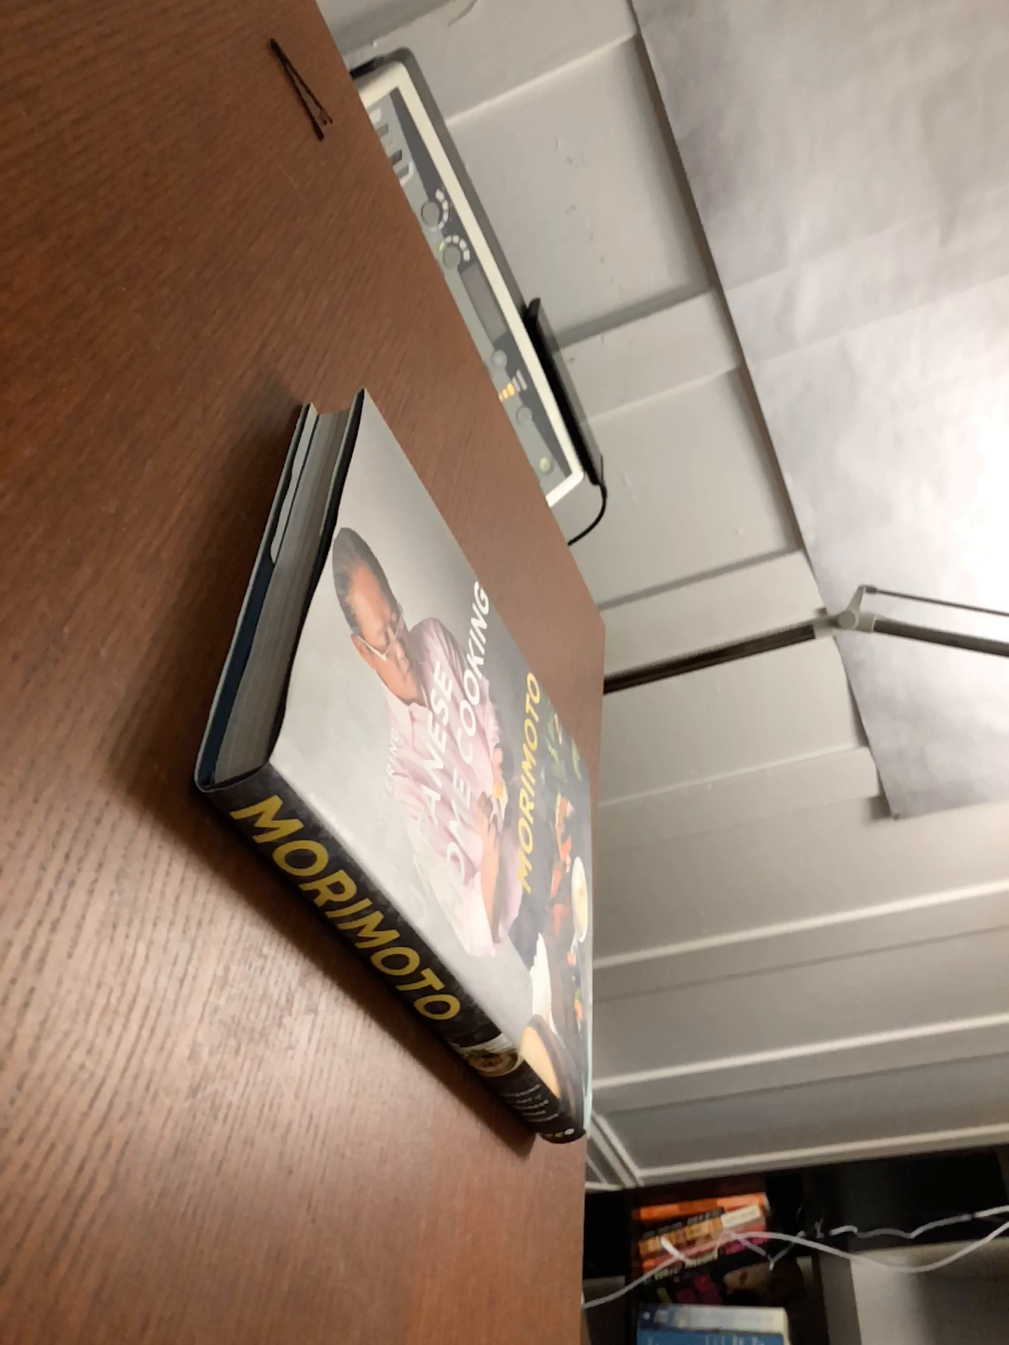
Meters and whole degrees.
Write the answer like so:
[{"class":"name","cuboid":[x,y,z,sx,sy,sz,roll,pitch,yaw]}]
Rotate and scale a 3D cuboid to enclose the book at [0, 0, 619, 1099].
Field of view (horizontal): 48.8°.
[{"class":"book","cuboid":[-0.038,-0.061,0.357,0.221,0.030,0.300,-65,136,-63]}]
